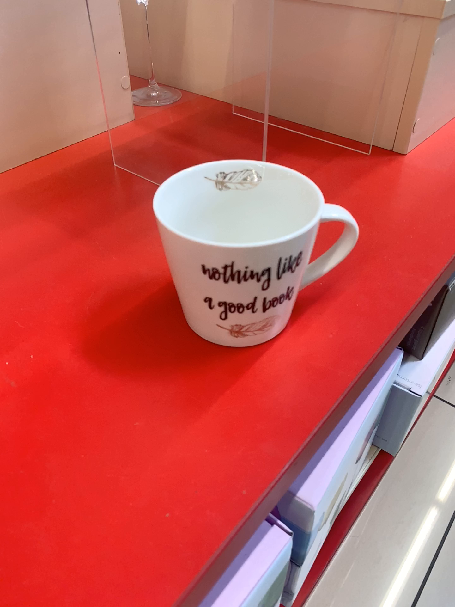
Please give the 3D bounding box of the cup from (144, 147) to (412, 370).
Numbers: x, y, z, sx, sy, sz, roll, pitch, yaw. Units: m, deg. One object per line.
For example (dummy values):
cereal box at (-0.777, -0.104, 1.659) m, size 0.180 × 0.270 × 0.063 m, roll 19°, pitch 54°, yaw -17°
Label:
cup at (0.021, -0.030, 0.285) m, size 0.130 × 0.090 × 0.090 m, roll -5°, pitch 42°, yaw -5°
